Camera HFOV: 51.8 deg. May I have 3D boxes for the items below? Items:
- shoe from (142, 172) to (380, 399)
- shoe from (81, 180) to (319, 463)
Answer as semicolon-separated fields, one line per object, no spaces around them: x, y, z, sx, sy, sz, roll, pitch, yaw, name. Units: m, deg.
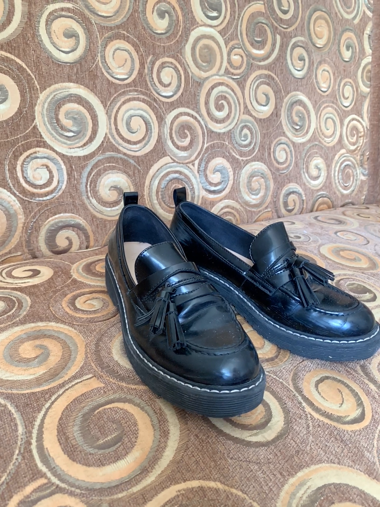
0.072;0.011;0.382;0.241;0.099;0.090;28;34;32;shoe
-0.020;0.027;0.338;0.090;0.099;0.241;-8;32;-27;shoe
